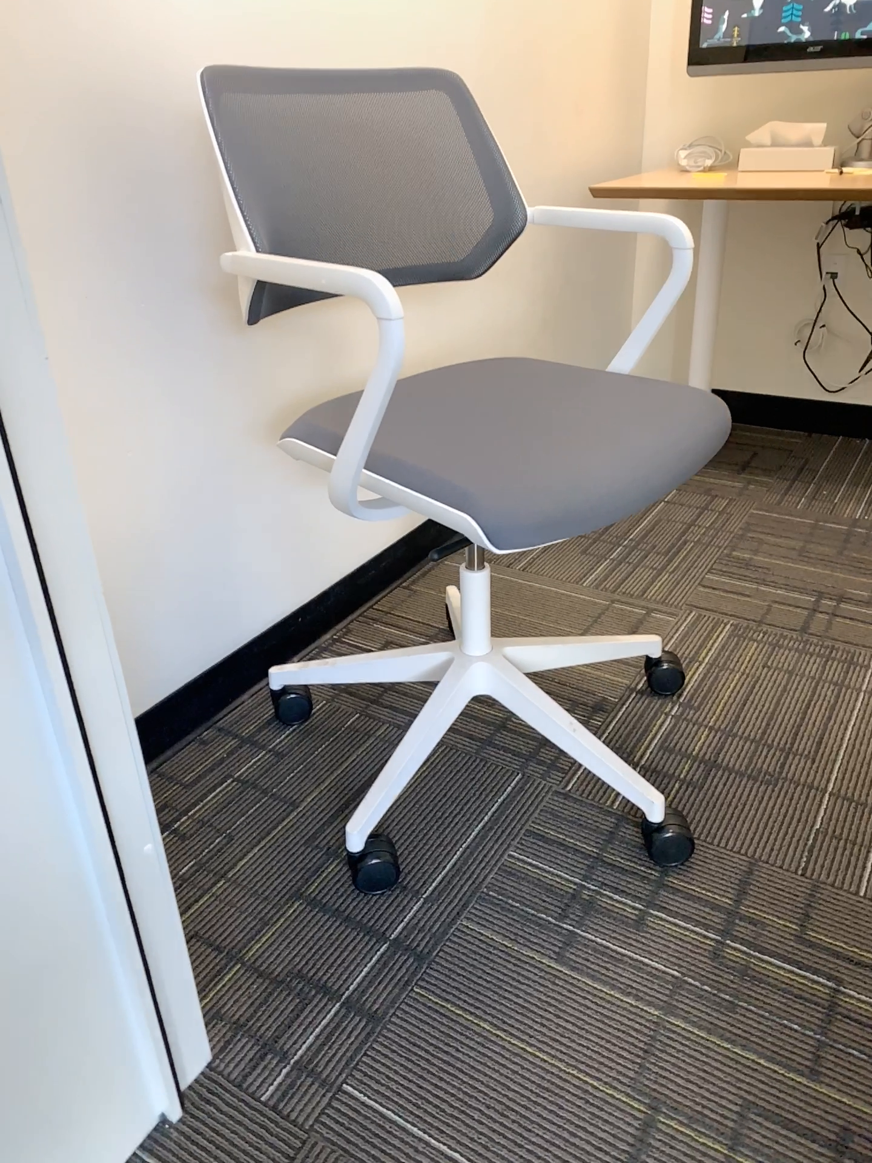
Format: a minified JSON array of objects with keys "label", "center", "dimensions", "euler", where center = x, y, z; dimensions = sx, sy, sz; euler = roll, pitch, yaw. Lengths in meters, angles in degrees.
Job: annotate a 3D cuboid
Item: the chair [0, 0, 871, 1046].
[{"label":"chair","center":[0.060,-0.191,1.200],"dimensions":[0.803,0.915,0.802],"euler":[18,34,33]}]
